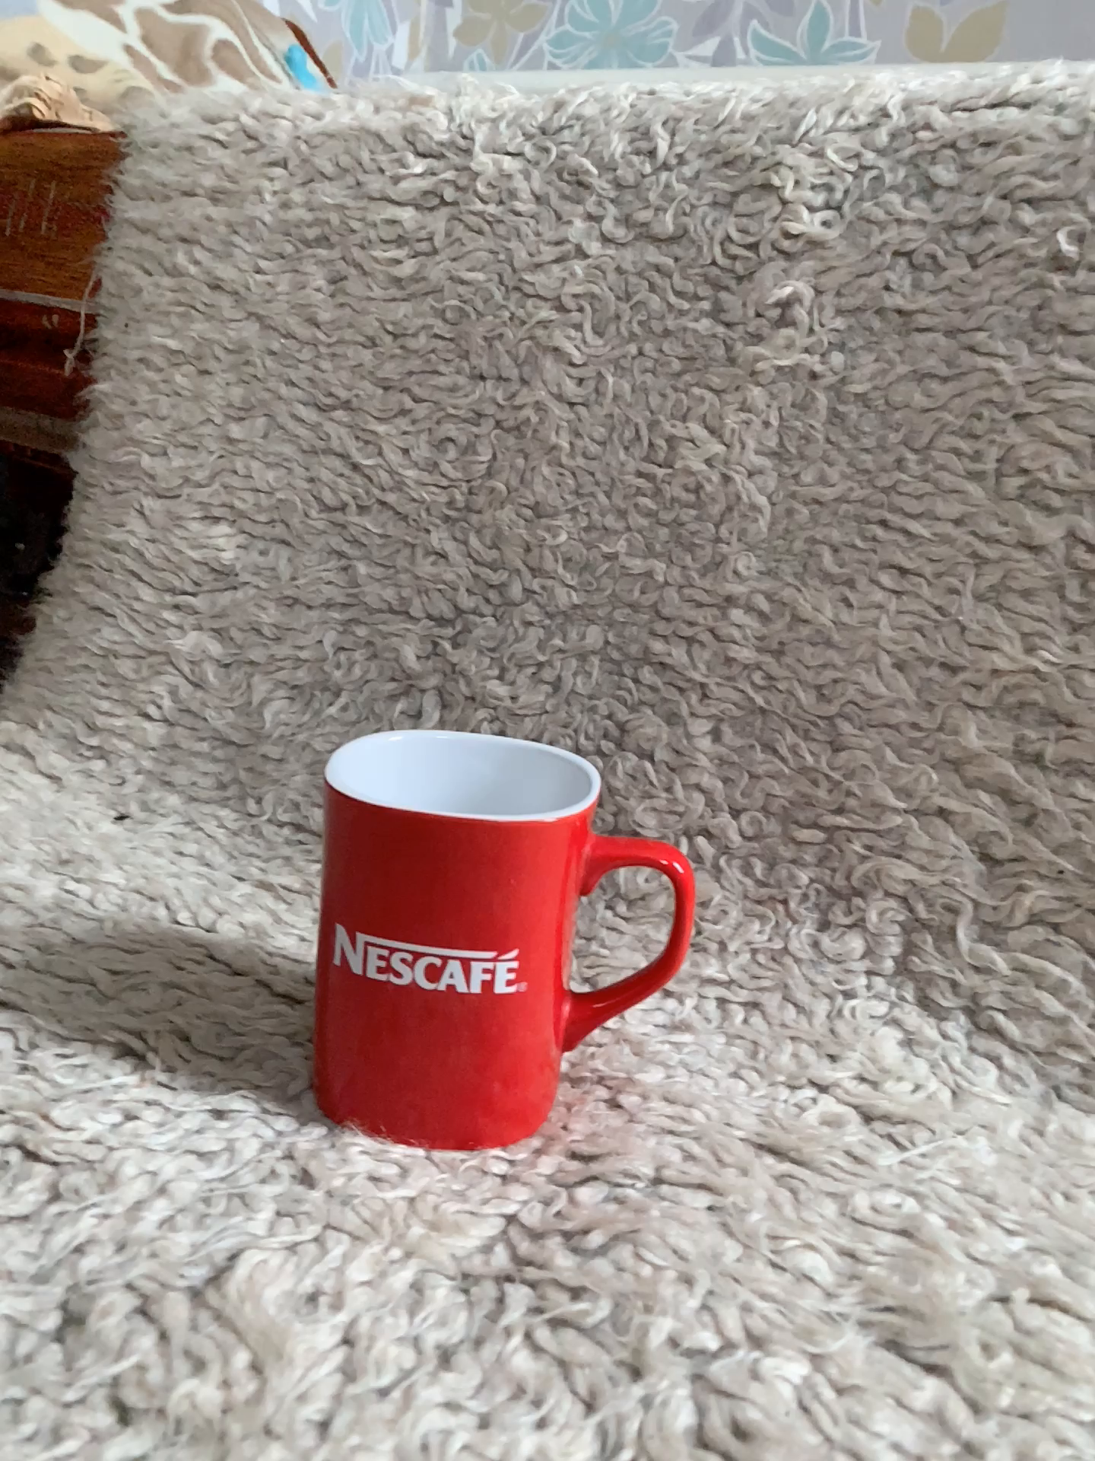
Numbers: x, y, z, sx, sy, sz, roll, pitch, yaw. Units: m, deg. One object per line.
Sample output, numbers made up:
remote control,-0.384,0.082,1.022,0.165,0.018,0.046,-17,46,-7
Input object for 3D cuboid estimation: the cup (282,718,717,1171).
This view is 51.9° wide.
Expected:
cup,-0.016,0.067,0.380,0.121,0.110,0.088,6,15,0
